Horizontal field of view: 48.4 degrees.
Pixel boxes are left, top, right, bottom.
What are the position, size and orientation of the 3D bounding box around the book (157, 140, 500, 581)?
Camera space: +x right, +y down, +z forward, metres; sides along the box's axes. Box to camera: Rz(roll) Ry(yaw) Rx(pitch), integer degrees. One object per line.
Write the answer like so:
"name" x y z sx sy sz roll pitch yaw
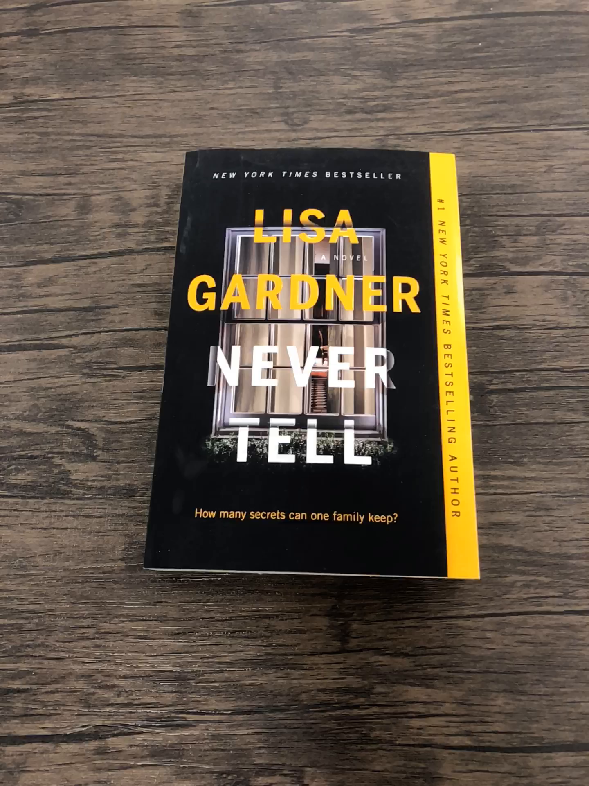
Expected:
"book" 0.017 -0.022 0.309 0.137 0.032 0.207 2 71 2
